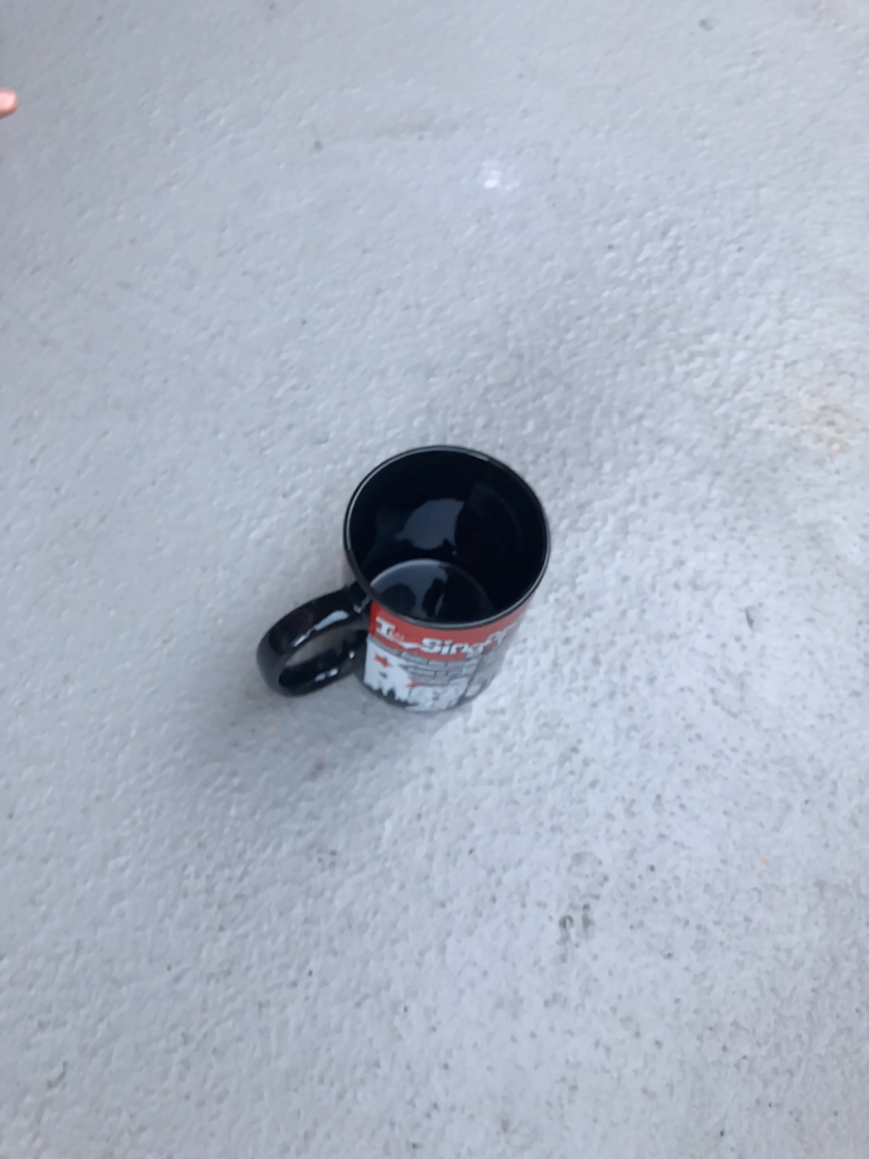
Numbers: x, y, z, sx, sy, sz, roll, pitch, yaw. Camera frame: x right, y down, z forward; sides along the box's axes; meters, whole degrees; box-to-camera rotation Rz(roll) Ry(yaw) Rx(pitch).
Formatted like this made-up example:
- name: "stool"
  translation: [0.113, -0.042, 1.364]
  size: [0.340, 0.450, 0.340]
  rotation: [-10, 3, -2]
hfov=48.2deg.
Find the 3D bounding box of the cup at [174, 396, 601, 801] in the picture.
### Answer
- name: "cup"
  translation: [-0.021, 0.011, 0.394]
  size: [0.130, 0.110, 0.080]
  rotation: [-24, 67, -18]
